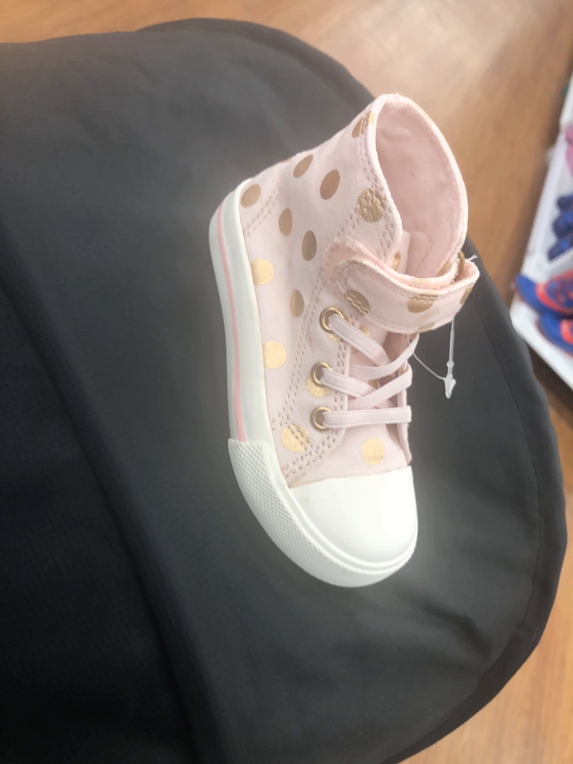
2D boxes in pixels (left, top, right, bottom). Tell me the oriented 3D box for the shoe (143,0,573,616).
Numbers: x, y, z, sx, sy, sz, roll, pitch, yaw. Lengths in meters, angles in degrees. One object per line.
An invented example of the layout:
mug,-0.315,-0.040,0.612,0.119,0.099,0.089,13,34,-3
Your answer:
shoe,0.025,-0.022,0.232,0.080,0.100,0.170,-4,67,-40
